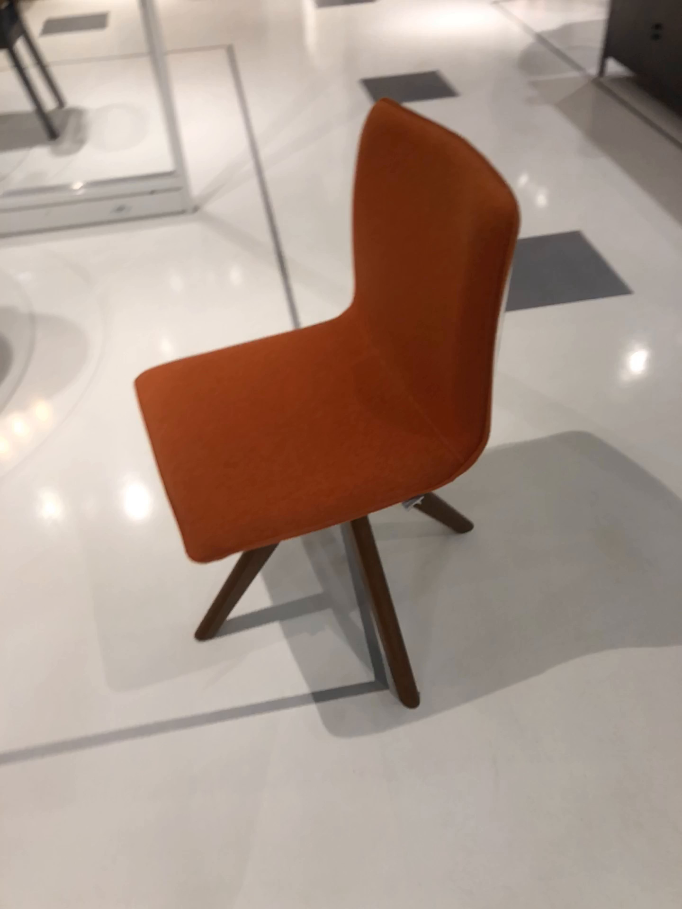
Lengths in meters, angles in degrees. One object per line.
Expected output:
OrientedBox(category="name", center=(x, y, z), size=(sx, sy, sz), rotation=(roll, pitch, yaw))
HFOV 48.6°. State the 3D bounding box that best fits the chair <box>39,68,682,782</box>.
OrientedBox(category="chair", center=(-0.011, -0.053, 1.201), size=(0.610, 0.795, 0.614), rotation=(-17, 45, -14))
